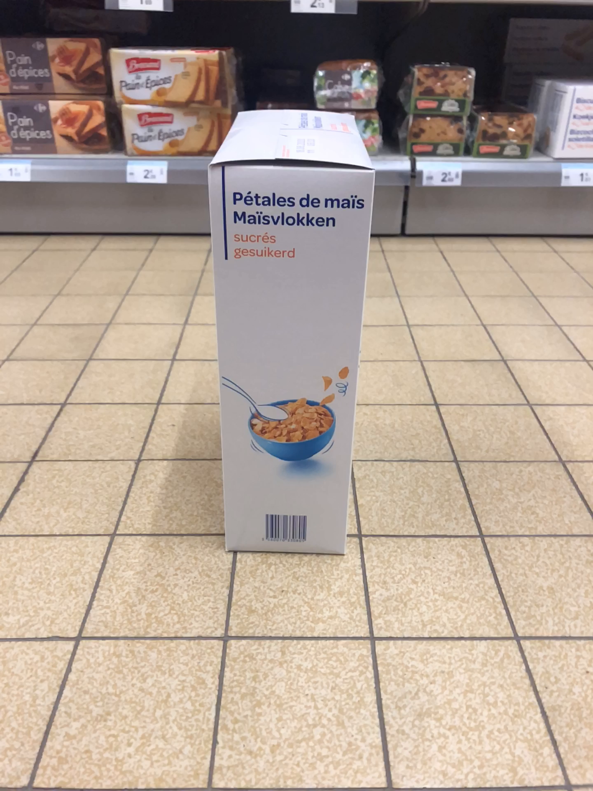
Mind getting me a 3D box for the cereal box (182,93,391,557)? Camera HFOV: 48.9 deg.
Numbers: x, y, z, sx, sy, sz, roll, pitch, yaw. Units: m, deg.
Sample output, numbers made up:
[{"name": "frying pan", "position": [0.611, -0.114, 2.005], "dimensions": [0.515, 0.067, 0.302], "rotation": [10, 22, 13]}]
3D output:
[{"name": "cereal box", "position": [-0.003, -0.059, 0.506], "dimensions": [0.110, 0.298, 0.201], "rotation": [1, 30, 1]}]
